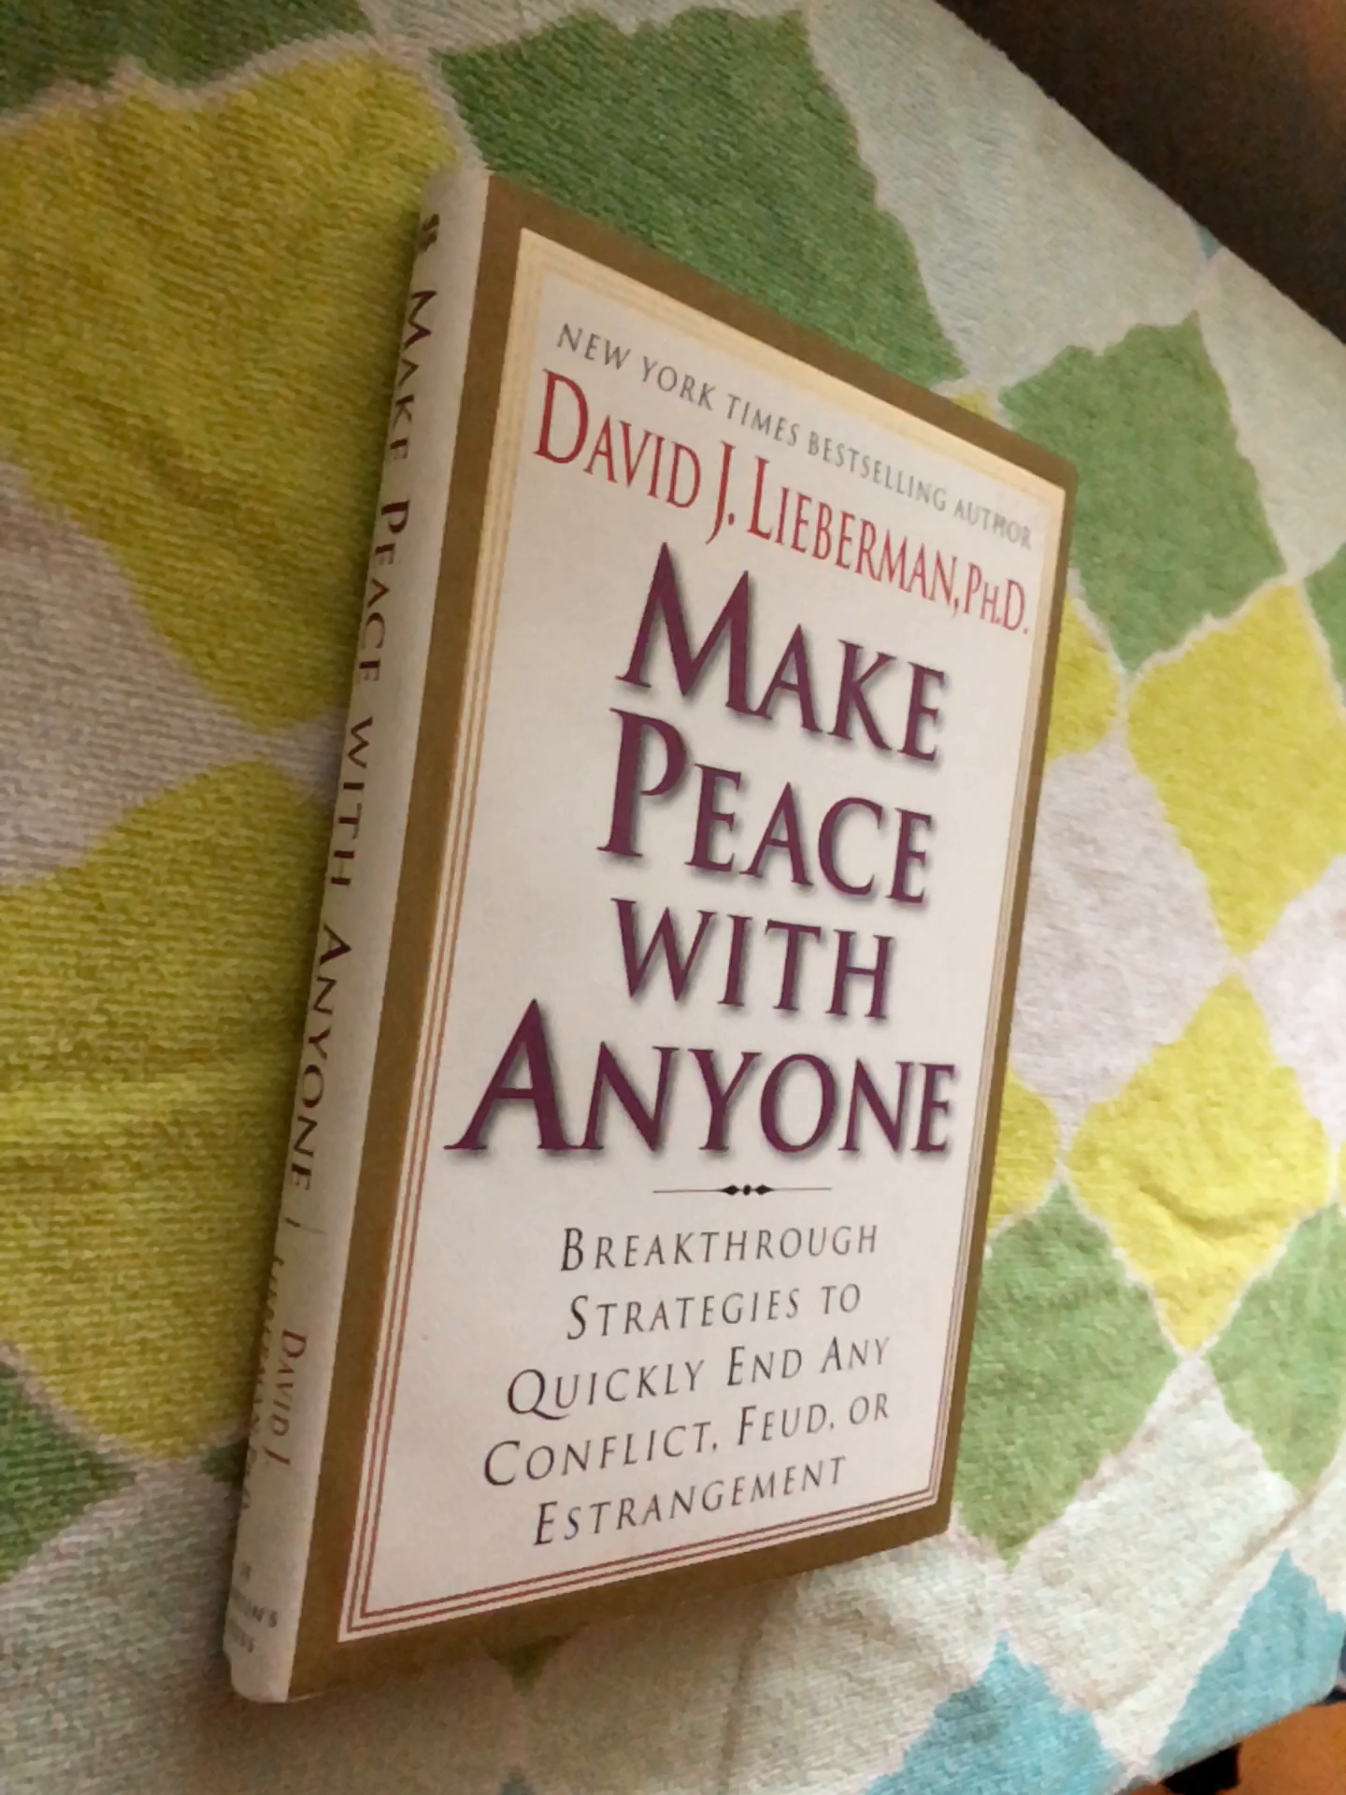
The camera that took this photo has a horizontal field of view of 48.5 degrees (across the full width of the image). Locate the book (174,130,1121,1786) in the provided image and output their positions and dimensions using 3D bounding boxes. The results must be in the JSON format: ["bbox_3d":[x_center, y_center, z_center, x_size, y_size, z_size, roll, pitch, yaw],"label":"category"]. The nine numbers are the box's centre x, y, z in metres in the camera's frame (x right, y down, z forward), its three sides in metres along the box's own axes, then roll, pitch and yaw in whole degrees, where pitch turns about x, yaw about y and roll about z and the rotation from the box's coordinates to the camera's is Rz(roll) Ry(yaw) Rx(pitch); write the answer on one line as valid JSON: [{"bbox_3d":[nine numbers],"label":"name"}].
[{"bbox_3d":[0.009,0.012,0.242,0.146,0.030,0.204,8,87,-40],"label":"book"}]
